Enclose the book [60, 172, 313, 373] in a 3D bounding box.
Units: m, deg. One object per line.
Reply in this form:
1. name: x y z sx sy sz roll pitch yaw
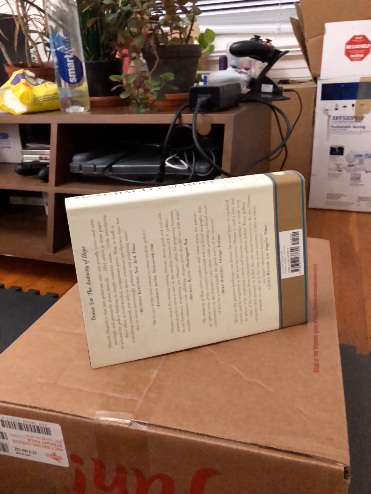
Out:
1. book: 0.008 0.017 0.438 0.250 0.170 0.060 -8 12 -15
